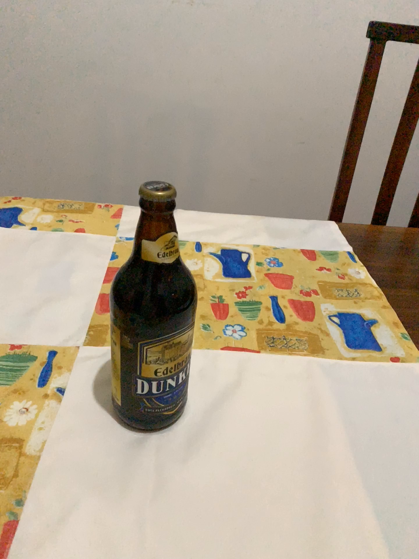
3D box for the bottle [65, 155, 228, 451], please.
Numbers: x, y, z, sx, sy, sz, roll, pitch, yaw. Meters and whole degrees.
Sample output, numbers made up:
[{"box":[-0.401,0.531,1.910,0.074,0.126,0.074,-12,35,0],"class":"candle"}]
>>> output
[{"box":[-0.053,0.022,0.356,0.080,0.219,0.080,4,32,-3],"class":"bottle"}]
